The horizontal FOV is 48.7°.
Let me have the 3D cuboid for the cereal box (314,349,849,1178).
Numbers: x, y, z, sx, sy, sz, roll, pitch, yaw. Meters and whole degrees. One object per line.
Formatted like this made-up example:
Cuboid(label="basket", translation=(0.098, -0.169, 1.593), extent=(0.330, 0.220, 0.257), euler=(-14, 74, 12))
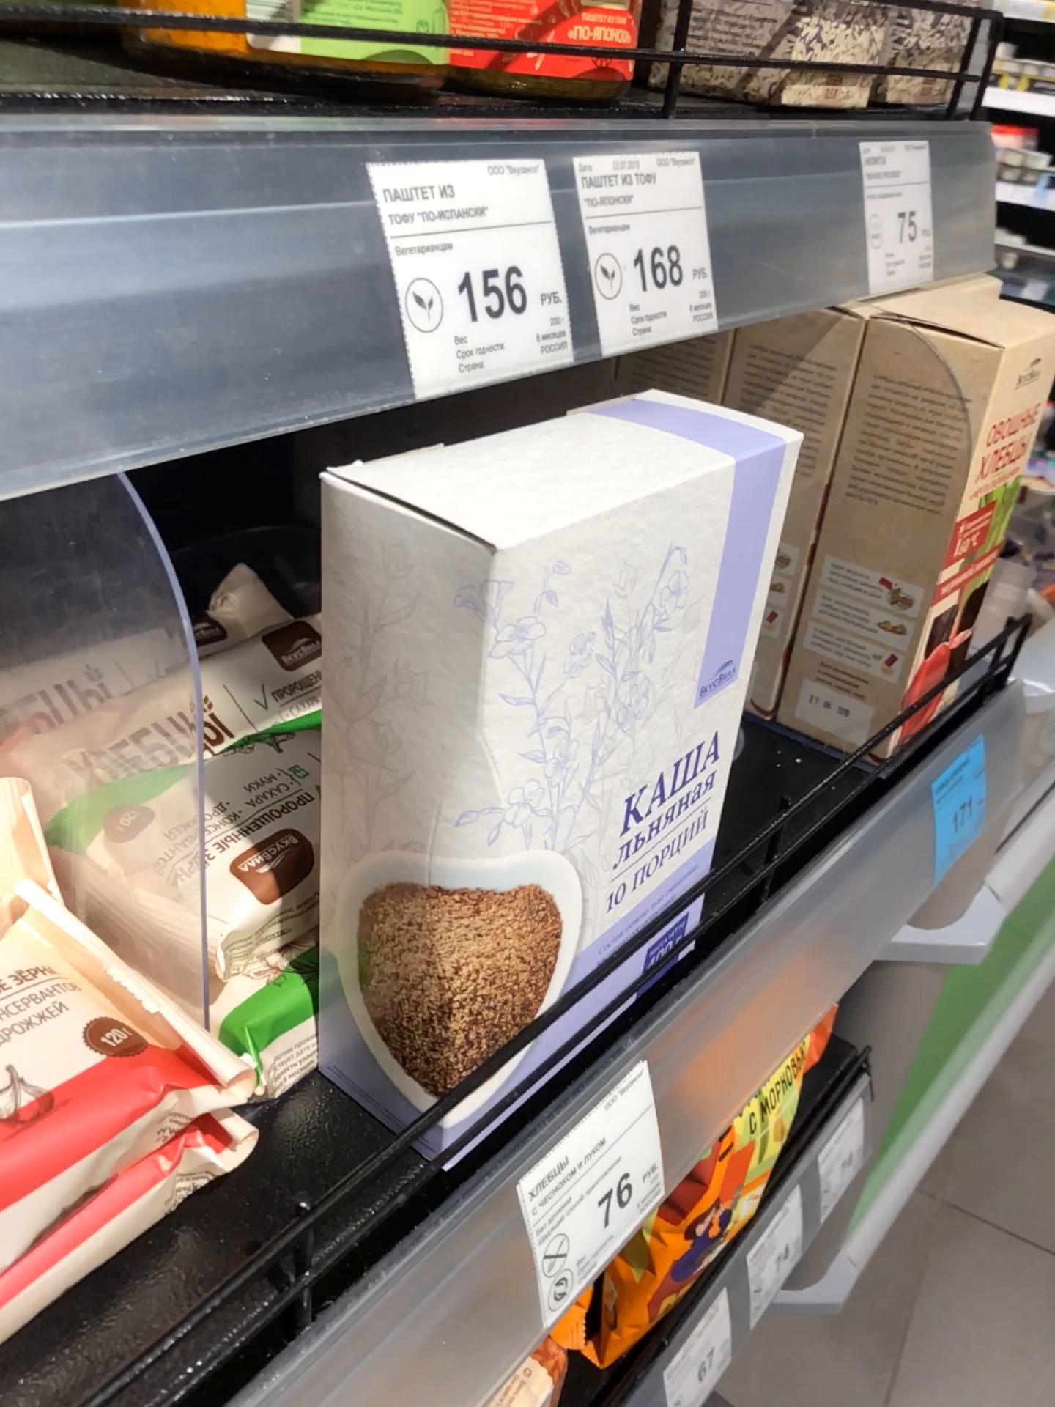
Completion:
Cuboid(label="cereal box", translation=(0.014, 0.011, 0.331), extent=(0.050, 0.189, 0.151), euler=(26, 35, 31))
